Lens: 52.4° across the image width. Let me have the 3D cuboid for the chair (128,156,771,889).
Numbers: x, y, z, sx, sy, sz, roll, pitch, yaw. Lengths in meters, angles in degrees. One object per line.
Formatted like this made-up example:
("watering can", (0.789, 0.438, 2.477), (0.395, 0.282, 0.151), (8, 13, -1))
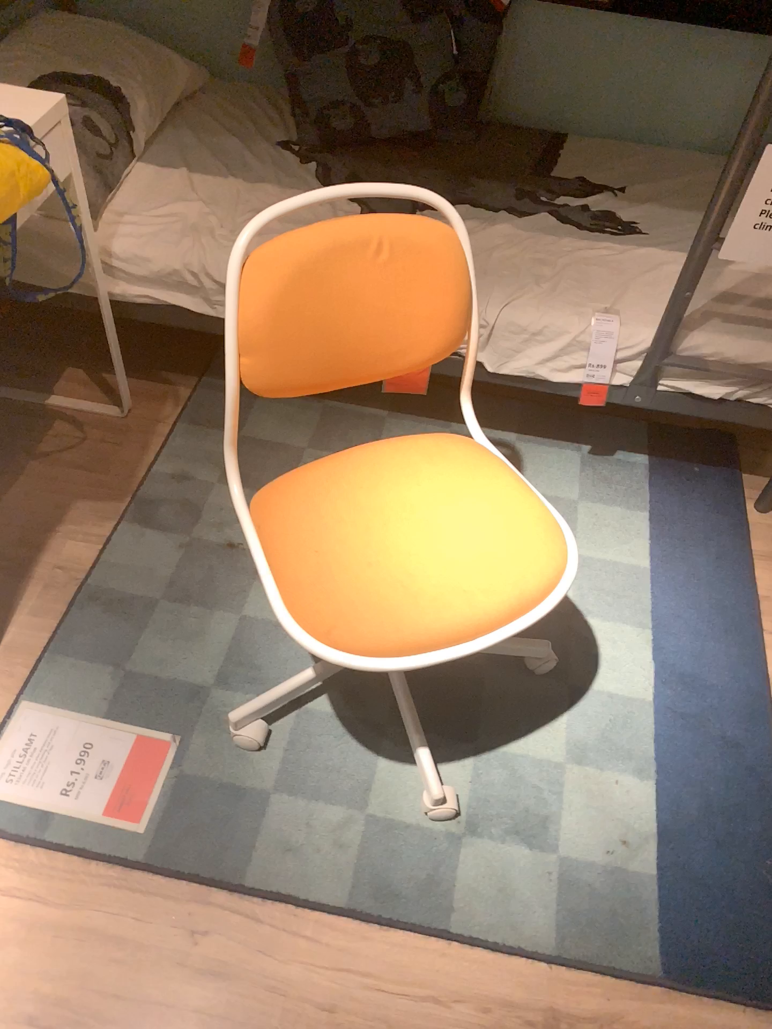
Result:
("chair", (0.047, 0.007, 1.135), (0.610, 0.708, 0.652), (-13, 52, -16))
